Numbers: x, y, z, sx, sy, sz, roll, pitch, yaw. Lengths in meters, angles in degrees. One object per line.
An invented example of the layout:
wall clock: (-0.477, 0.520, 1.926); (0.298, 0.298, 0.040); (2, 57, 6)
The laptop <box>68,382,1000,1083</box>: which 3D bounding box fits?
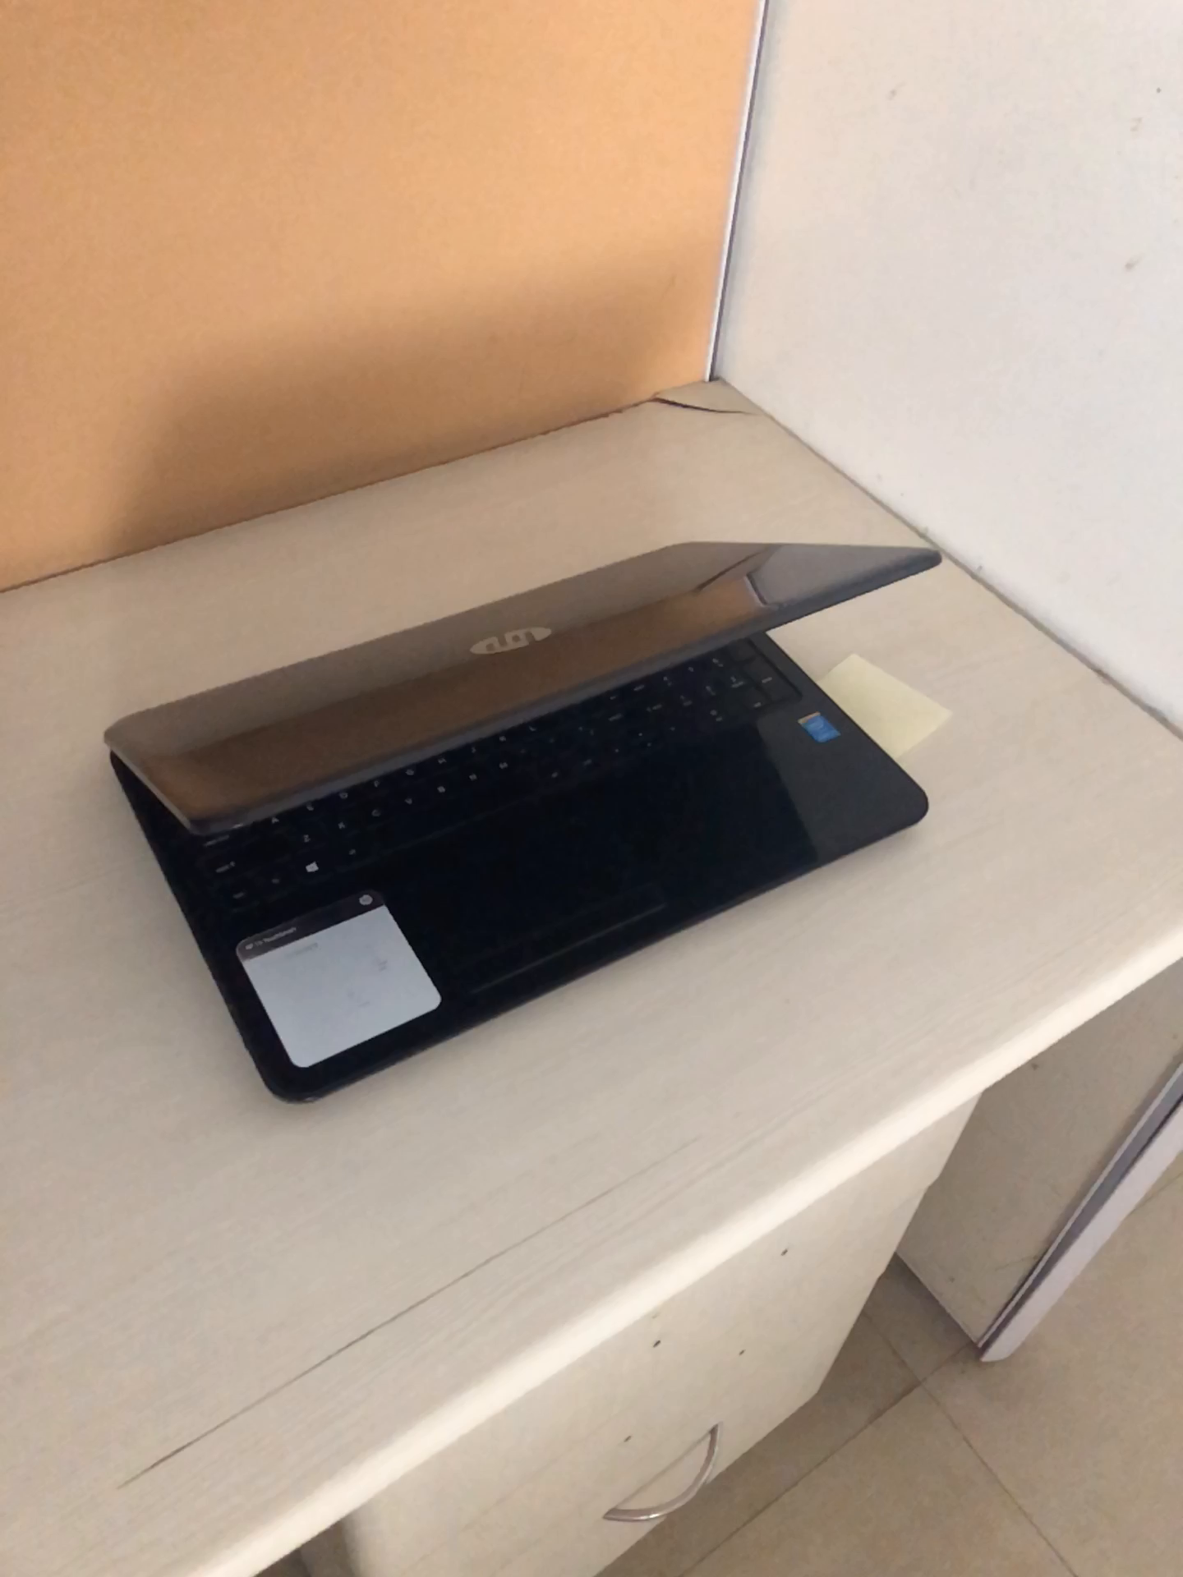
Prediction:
laptop: (-0.030, -0.050, 0.637); (0.353, 0.131, 0.224); (-21, 52, -23)
